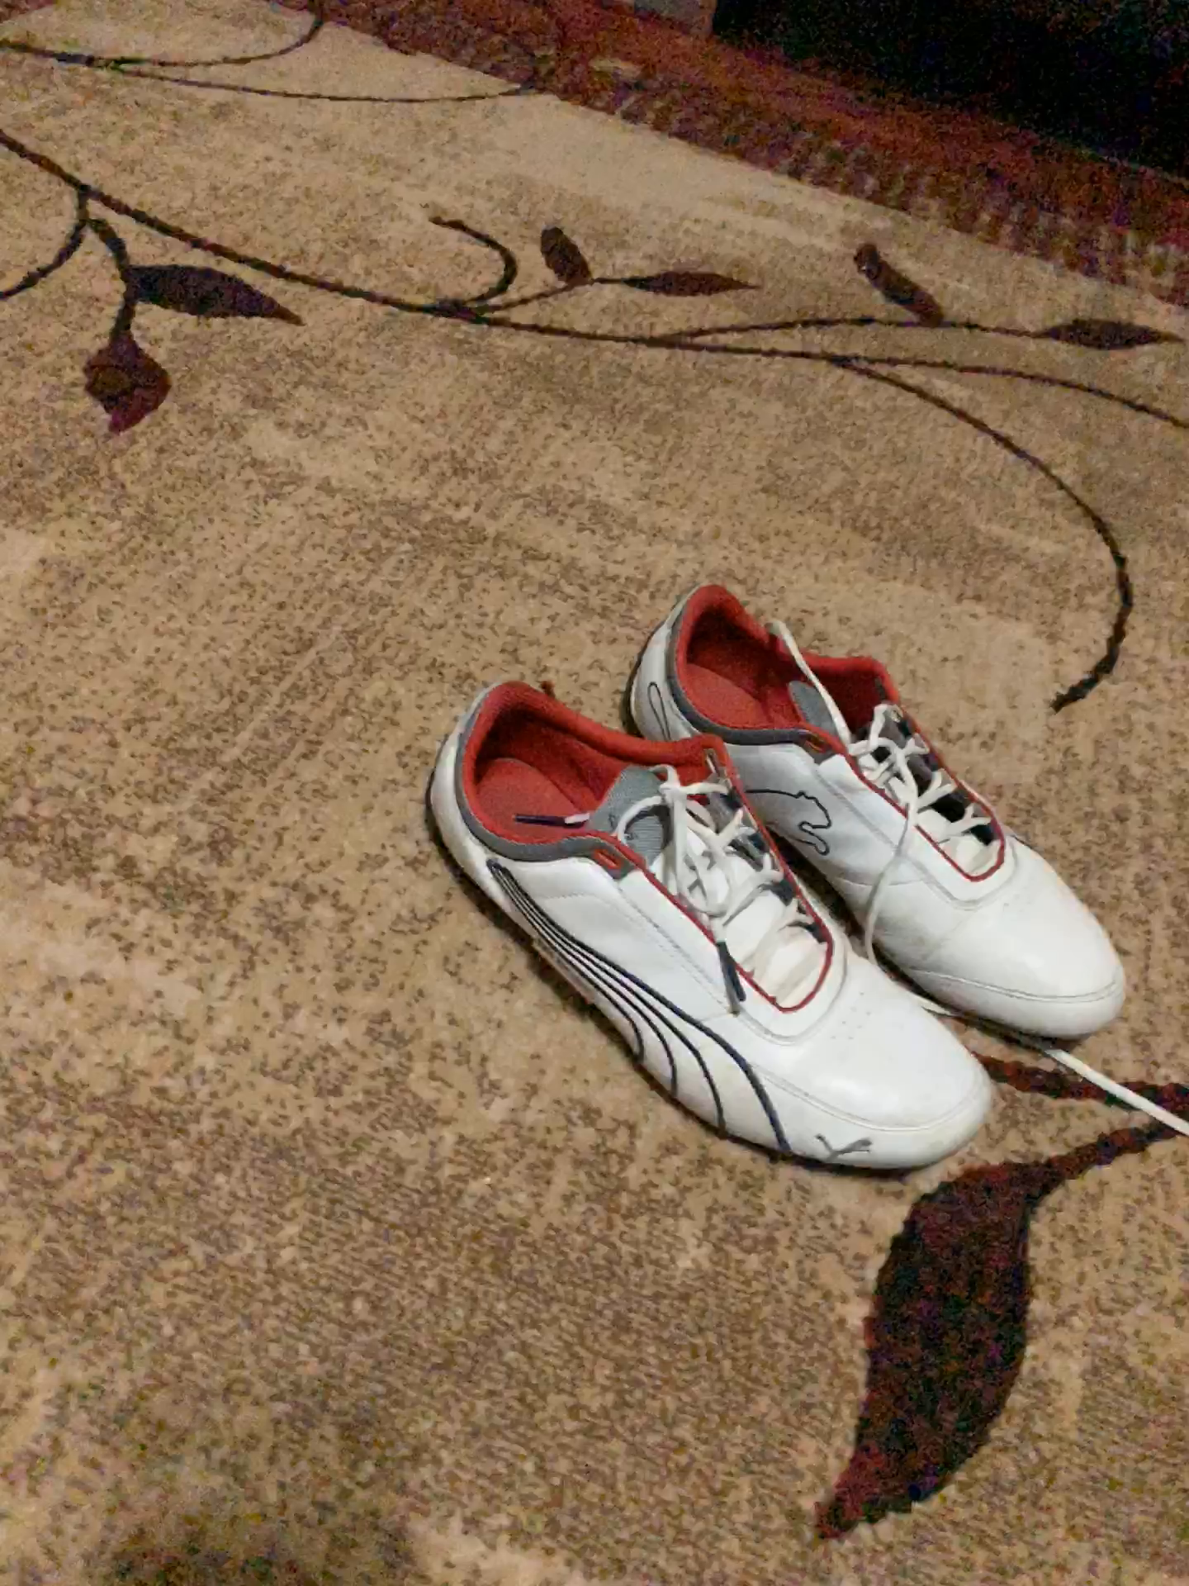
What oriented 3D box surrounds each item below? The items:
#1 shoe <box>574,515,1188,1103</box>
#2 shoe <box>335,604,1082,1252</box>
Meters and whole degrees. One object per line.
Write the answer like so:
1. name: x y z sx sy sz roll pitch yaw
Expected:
1. shoe: 0.128 -0.007 0.556 0.104 0.070 0.281 -31 62 -34
2. shoe: 0.035 0.042 0.489 0.281 0.070 0.100 34 50 17
